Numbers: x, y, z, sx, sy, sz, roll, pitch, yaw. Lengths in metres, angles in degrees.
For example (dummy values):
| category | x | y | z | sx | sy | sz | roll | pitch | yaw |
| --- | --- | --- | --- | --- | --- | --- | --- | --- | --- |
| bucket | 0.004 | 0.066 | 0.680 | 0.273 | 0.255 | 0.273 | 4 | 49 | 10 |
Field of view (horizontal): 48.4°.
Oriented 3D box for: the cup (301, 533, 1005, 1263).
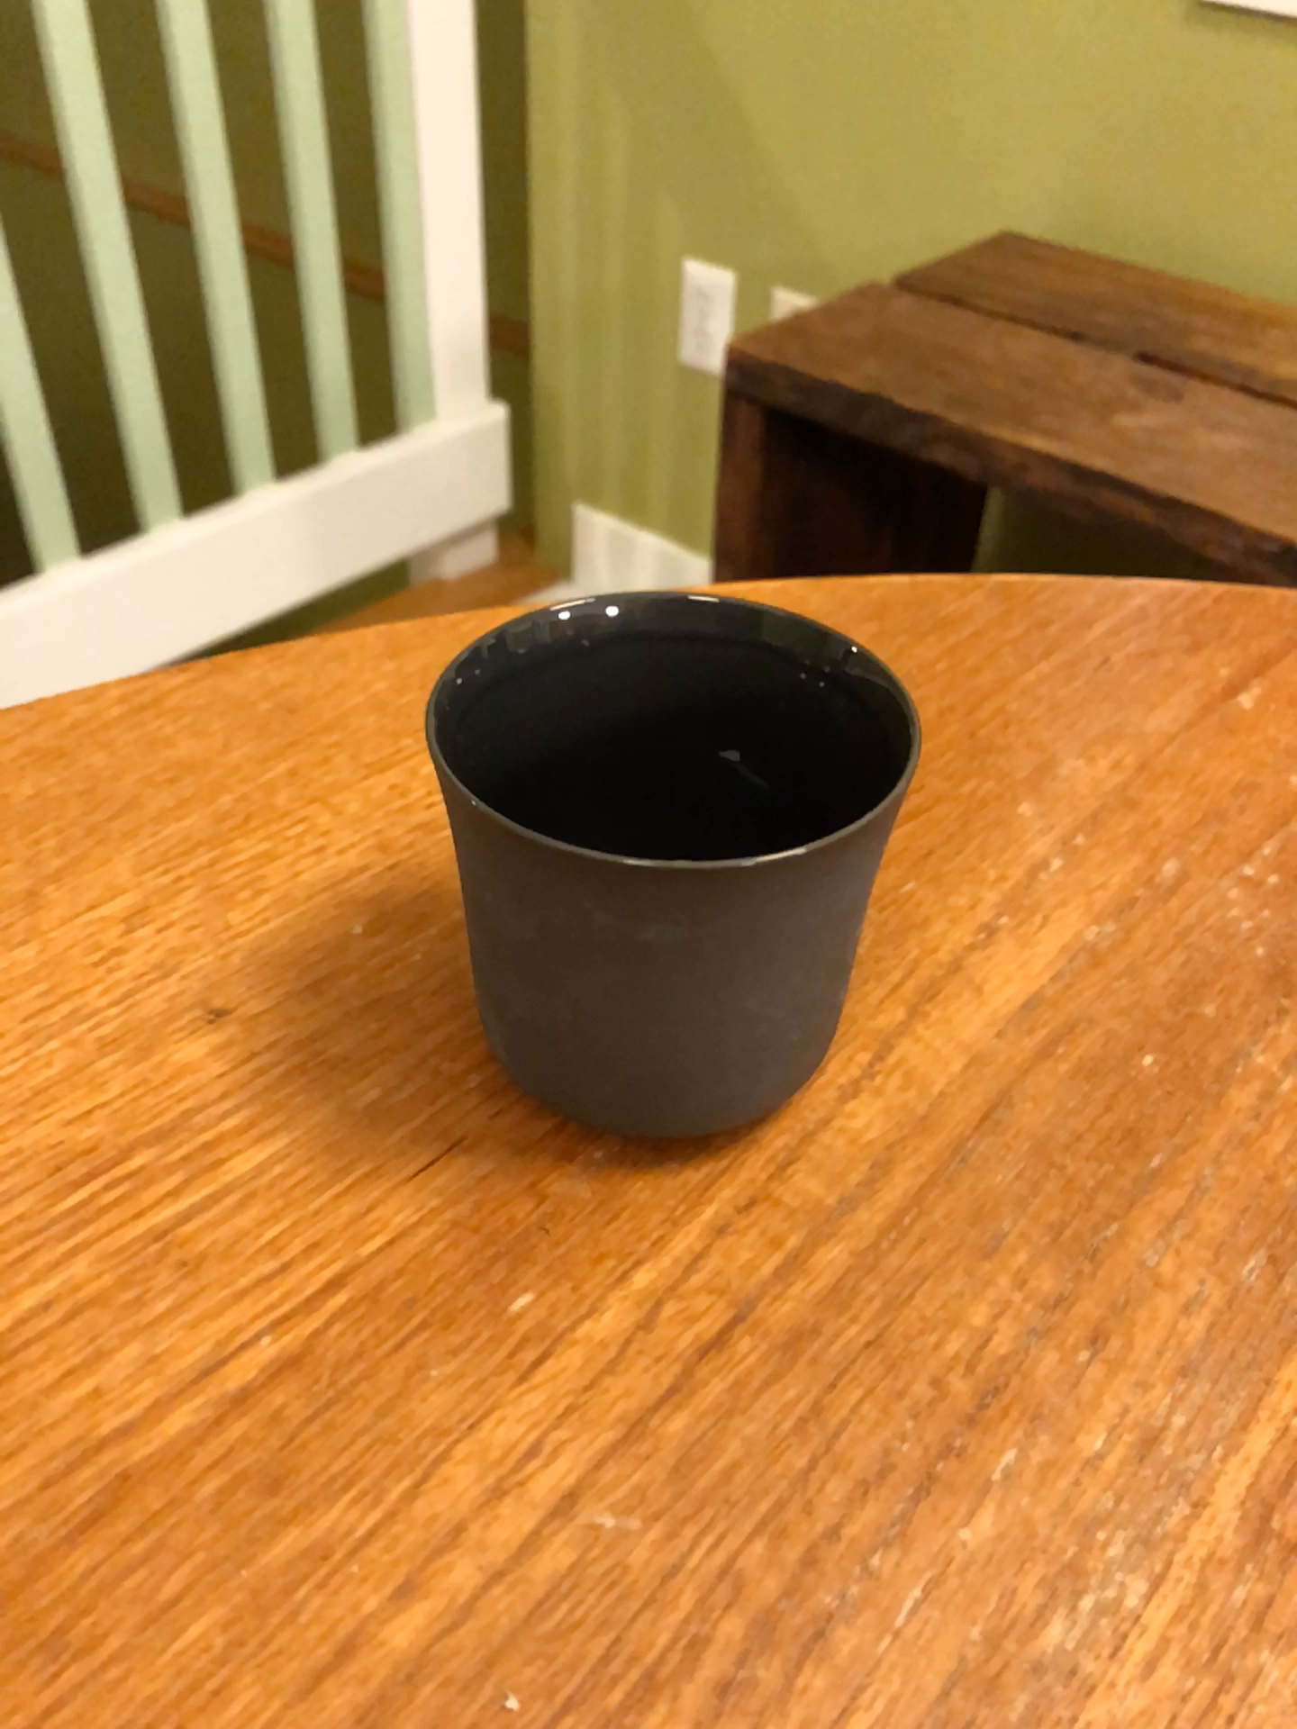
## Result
| category | x | y | z | sx | sy | sz | roll | pitch | yaw |
| --- | --- | --- | --- | --- | --- | --- | --- | --- | --- |
| cup | 0.002 | 0.001 | 0.240 | 0.079 | 0.068 | 0.075 | 2 | 40 | -1 |
